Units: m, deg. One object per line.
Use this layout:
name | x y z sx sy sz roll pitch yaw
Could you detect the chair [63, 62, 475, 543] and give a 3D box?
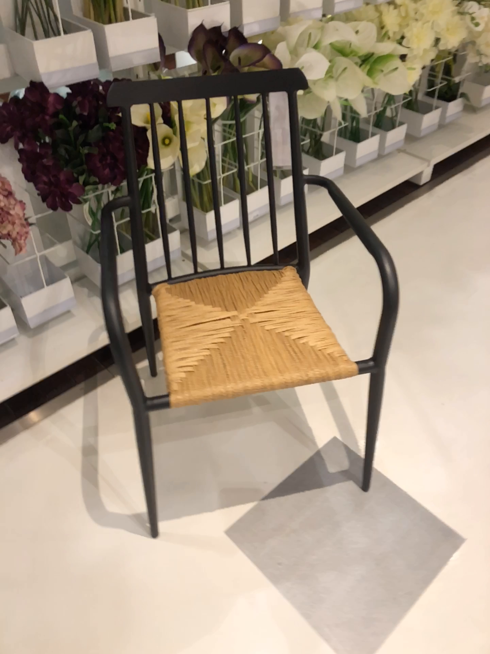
chair | -0.012 -0.055 1.148 0.540 0.754 0.585 -9 42 -9
